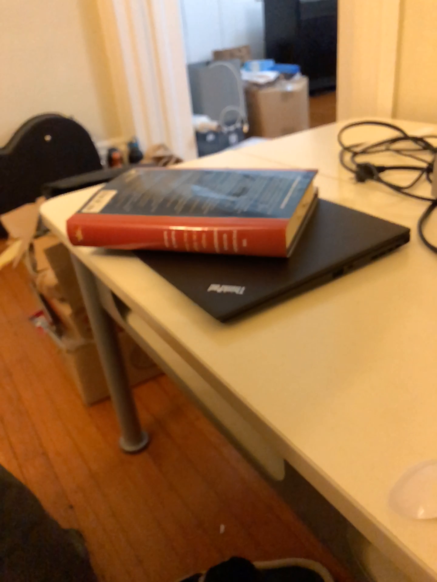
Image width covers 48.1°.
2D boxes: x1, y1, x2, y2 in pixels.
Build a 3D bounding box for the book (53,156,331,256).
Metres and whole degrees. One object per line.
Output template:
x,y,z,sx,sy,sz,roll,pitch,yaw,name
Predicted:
-0.019,-0.095,0.515,0.240,0.040,0.171,4,30,23,book
